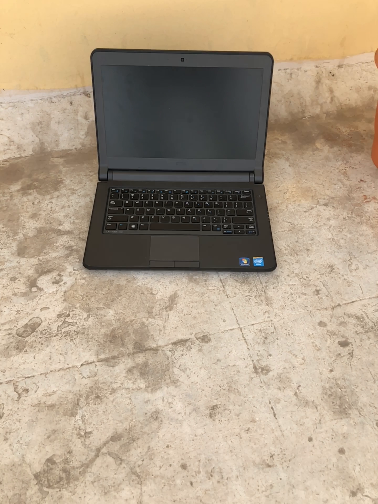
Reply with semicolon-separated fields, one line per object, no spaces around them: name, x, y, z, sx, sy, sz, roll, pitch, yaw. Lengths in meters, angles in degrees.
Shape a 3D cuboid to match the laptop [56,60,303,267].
laptop;-0.012;-0.155;0.697;0.308;0.208;0.300;0;48;0
